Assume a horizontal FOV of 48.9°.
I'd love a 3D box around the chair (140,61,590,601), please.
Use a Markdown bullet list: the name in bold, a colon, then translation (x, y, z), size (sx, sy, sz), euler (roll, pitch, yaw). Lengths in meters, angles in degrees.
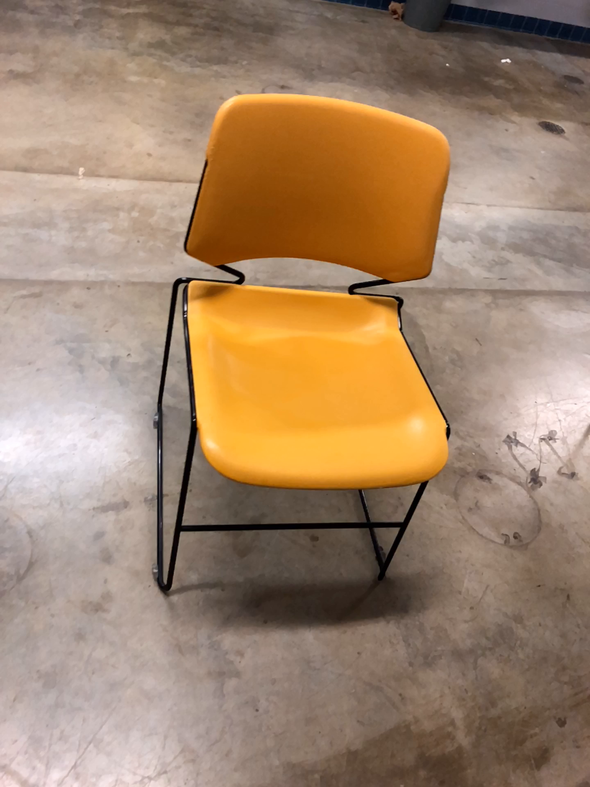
- **chair**: translation (0.023, -0.078, 1.230), size (0.578, 0.735, 0.618), euler (2, 47, -15)
